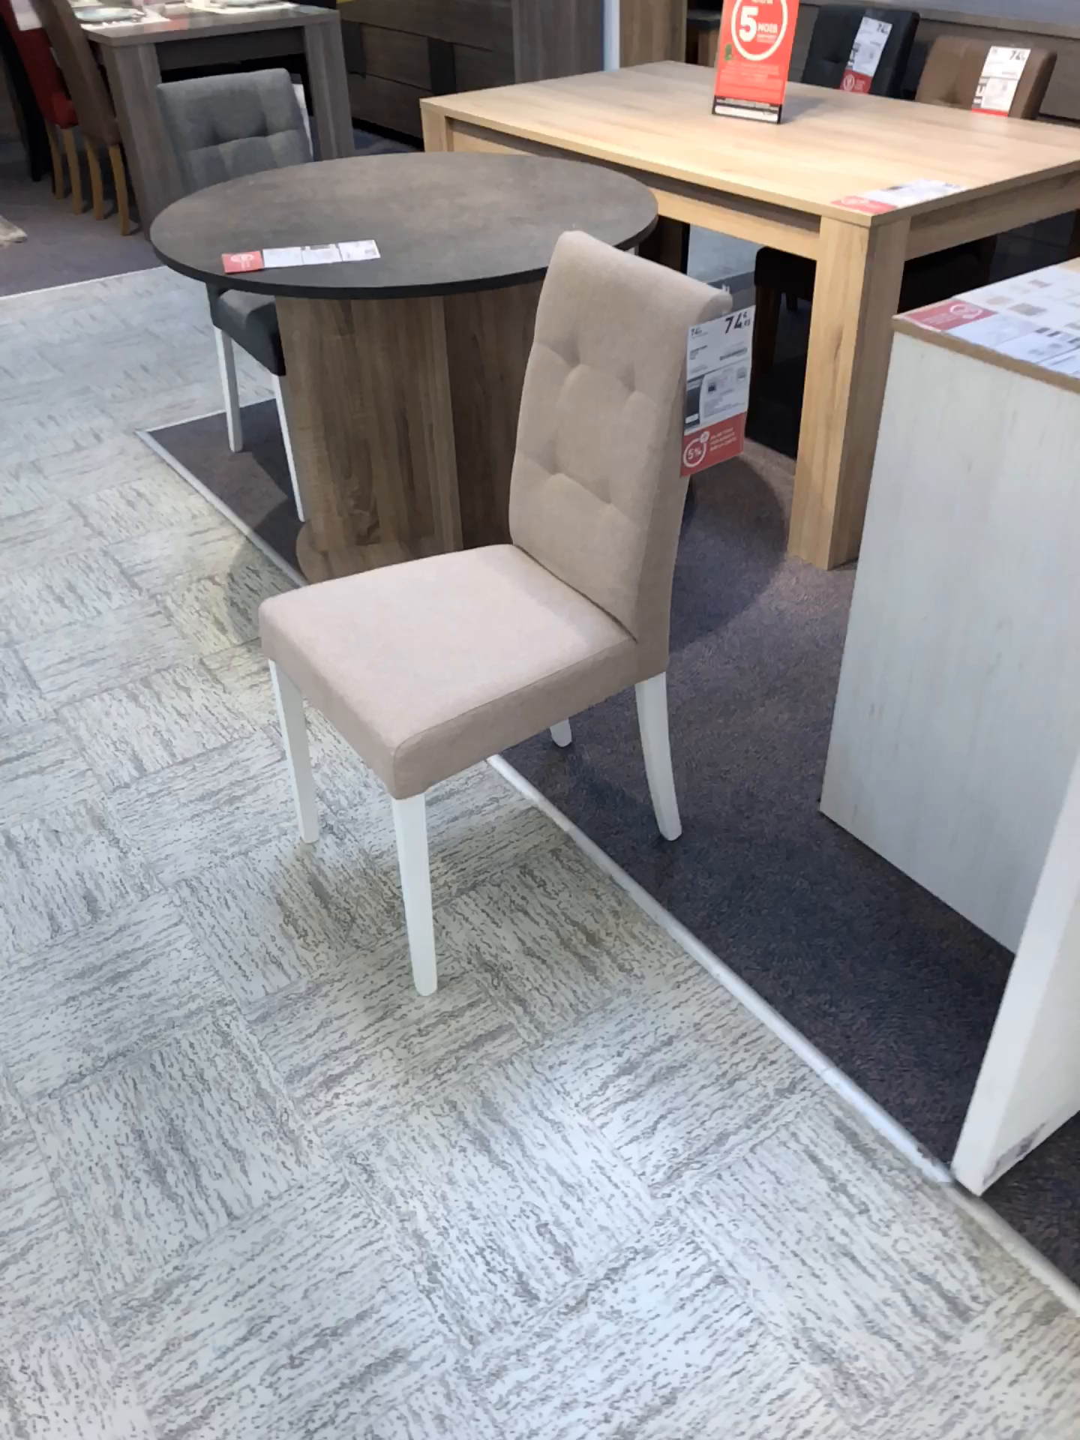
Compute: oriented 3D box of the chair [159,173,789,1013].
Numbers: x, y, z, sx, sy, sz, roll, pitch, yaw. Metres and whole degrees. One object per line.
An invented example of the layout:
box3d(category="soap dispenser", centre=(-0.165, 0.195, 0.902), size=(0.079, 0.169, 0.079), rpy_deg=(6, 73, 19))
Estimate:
box3d(category="chair", centre=(-0.065, -0.167, 1.518), size=(0.532, 0.855, 0.431), rpy_deg=(-23, 41, -26))
